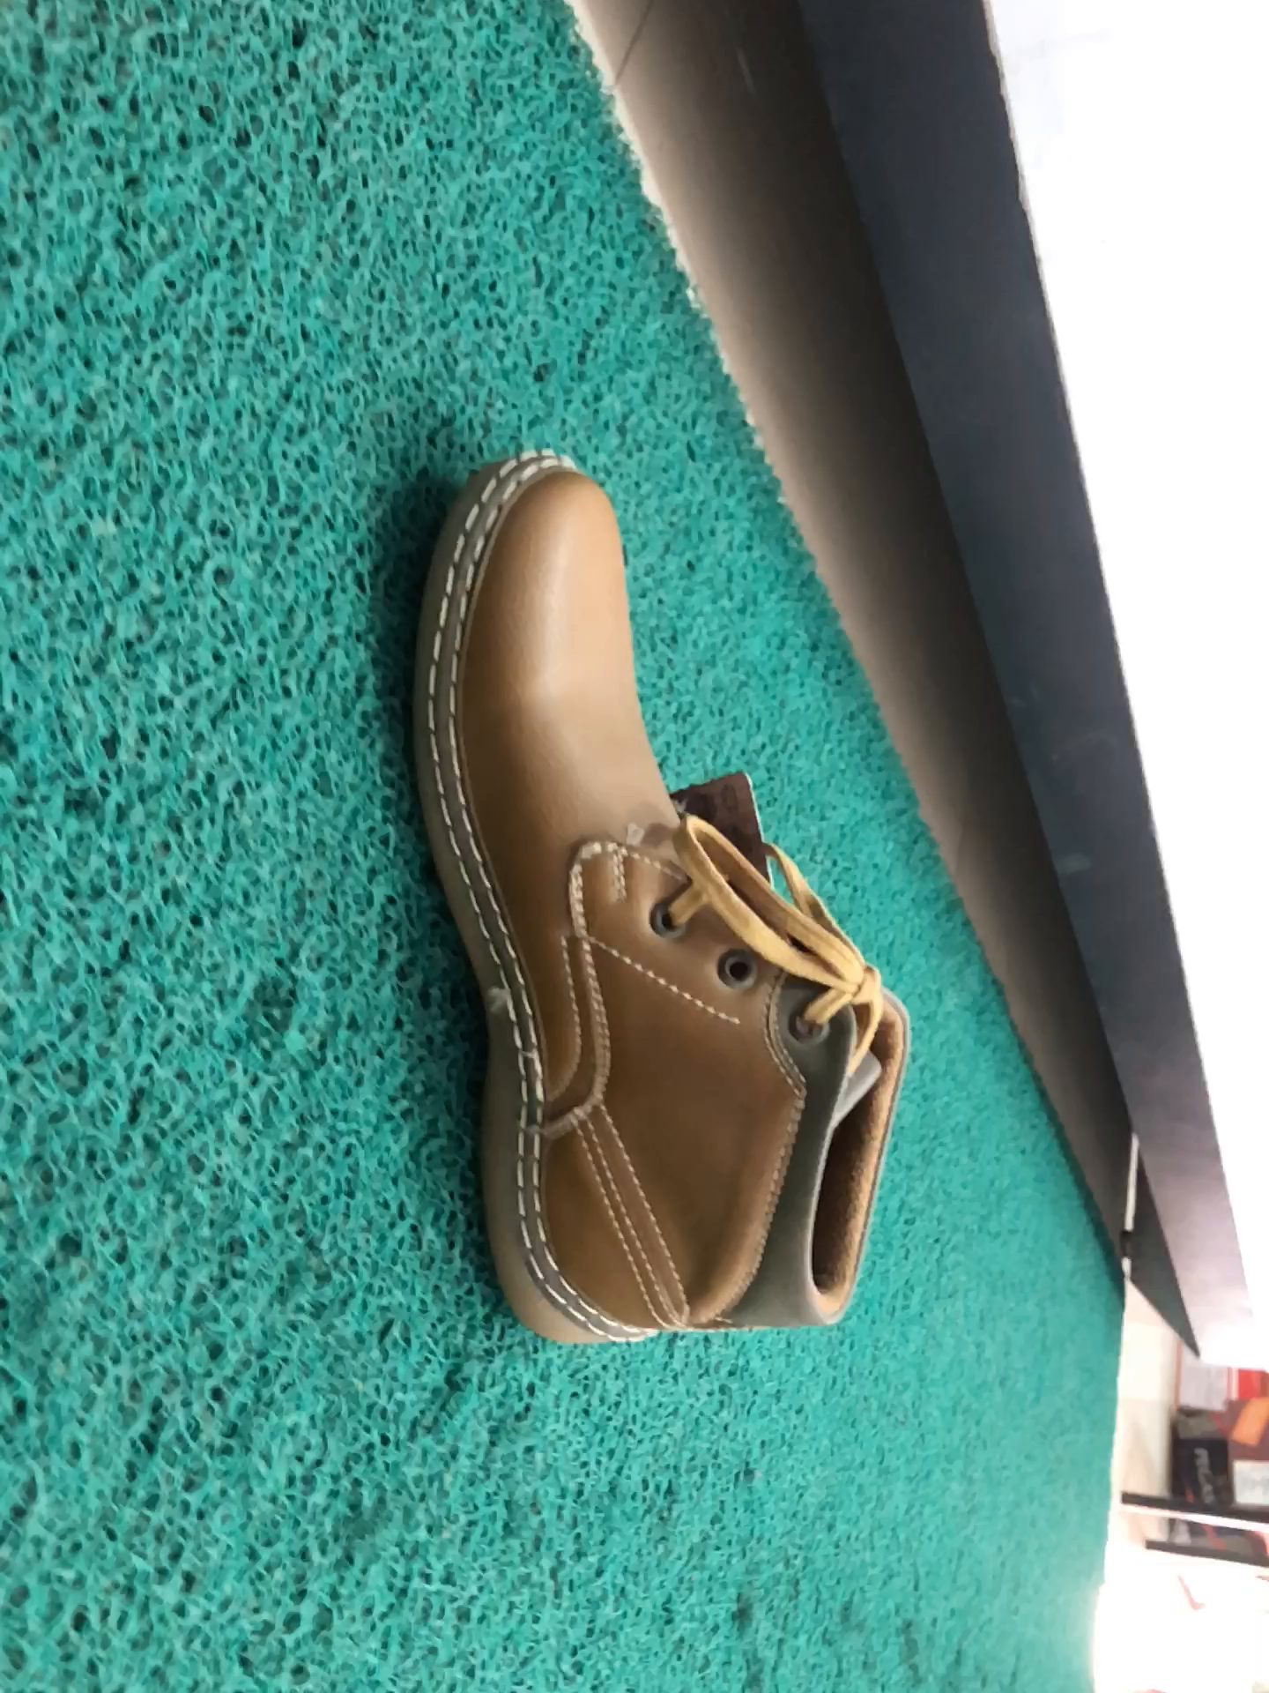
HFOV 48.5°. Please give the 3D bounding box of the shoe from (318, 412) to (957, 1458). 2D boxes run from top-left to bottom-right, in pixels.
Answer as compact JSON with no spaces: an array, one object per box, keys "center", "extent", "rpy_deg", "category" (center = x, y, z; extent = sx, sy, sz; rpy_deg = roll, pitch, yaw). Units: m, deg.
[{"center":[0.011,0.024,0.444],"extent":[0.101,0.129,0.290],"rpy_deg":[-31,116,-59],"category":"shoe"}]
